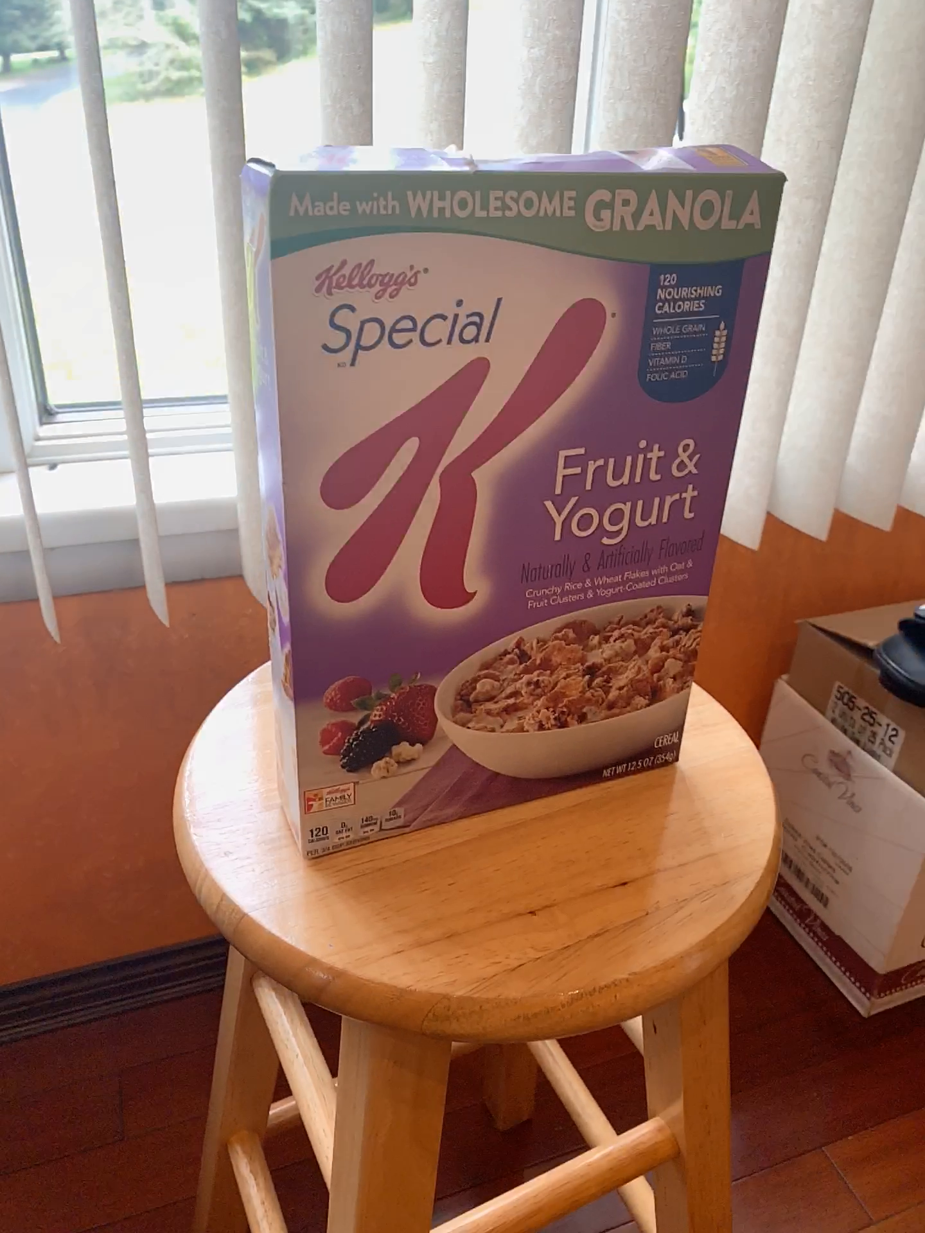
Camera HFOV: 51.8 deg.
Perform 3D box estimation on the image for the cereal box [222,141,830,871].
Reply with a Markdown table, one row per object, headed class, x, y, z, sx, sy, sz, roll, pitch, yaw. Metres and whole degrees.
| class | x | y | z | sx | sy | sz | roll | pitch | yaw |
| --- | --- | --- | --- | --- | --- | --- | --- | --- | --- |
| cereal box | 0.020 | -0.044 | 0.410 | 0.210 | 0.278 | 0.070 | -10 | 31 | -21 |
